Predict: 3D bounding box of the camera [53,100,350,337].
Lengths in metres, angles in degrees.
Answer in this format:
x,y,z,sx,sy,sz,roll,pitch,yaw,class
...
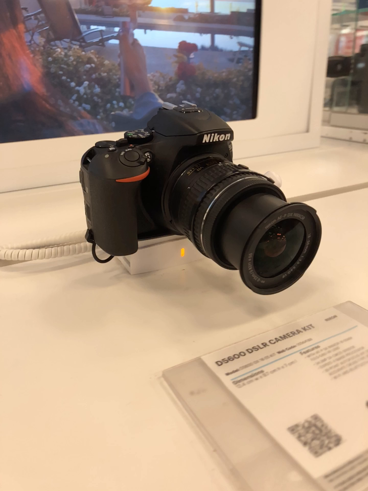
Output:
x,y,z,sx,sy,sz,roll,pitch,yaw,class
-0.005,-0.043,0.303,0.120,0.090,0.191,-14,32,-28,camera
